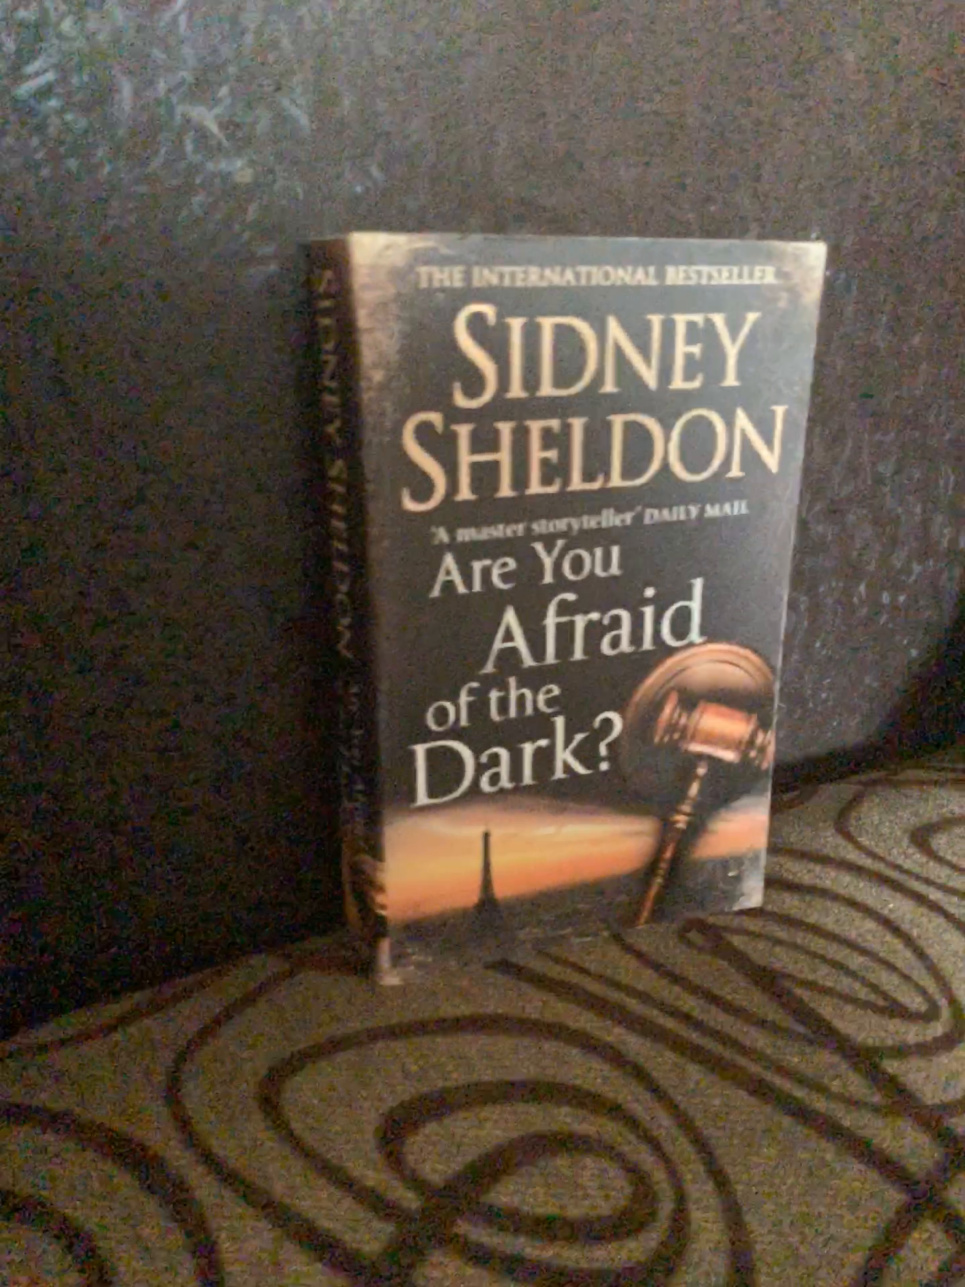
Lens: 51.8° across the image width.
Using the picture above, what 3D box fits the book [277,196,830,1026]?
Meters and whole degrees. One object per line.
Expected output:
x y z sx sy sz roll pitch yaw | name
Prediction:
0.014 -0.007 0.249 0.120 0.179 0.040 -5 18 -23 | book
